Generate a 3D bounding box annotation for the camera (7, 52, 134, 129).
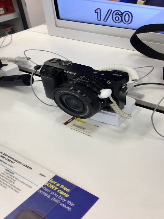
[{"bbox_3d":[-0.016,-0.032,0.307,0.141,0.056,0.070,21,48,26],"label":"camera"}]
